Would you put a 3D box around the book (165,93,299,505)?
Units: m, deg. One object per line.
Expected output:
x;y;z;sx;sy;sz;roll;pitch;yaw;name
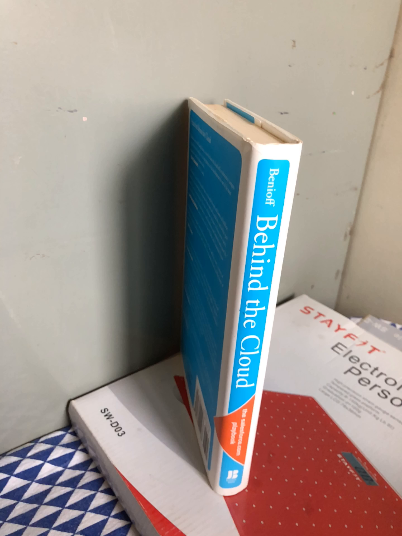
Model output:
0.005;0.005;0.333;0.040;0.239;0.191;-3;25;-10;book
